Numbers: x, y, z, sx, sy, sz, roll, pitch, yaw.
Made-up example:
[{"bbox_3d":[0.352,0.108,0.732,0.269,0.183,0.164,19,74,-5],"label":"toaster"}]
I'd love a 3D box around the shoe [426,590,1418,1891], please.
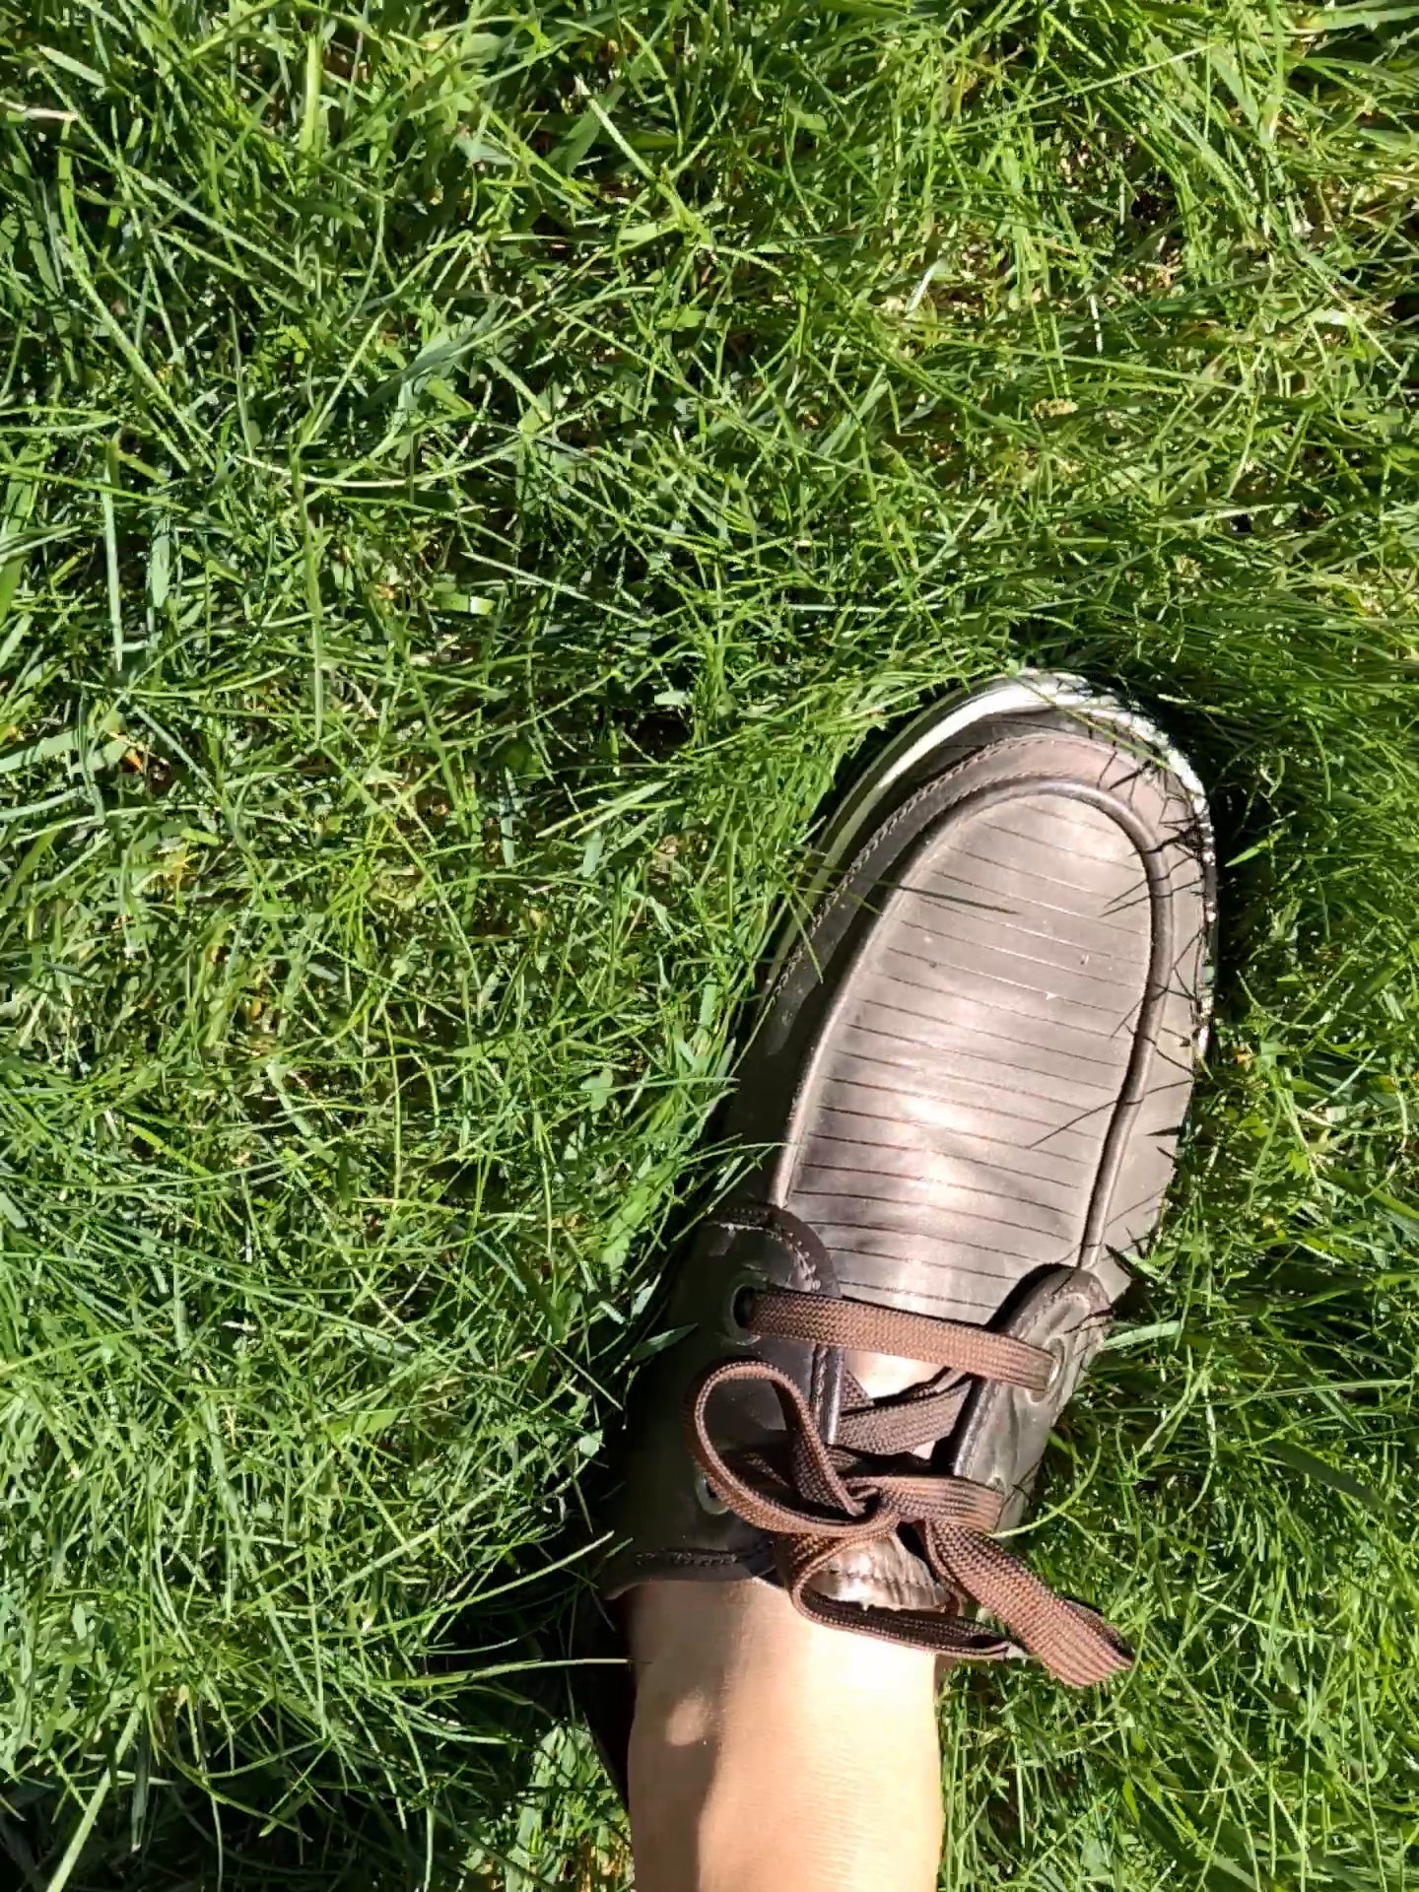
[{"bbox_3d":[0.043,0.084,0.340,0.110,0.107,0.293,19,104,-2],"label":"shoe"}]
